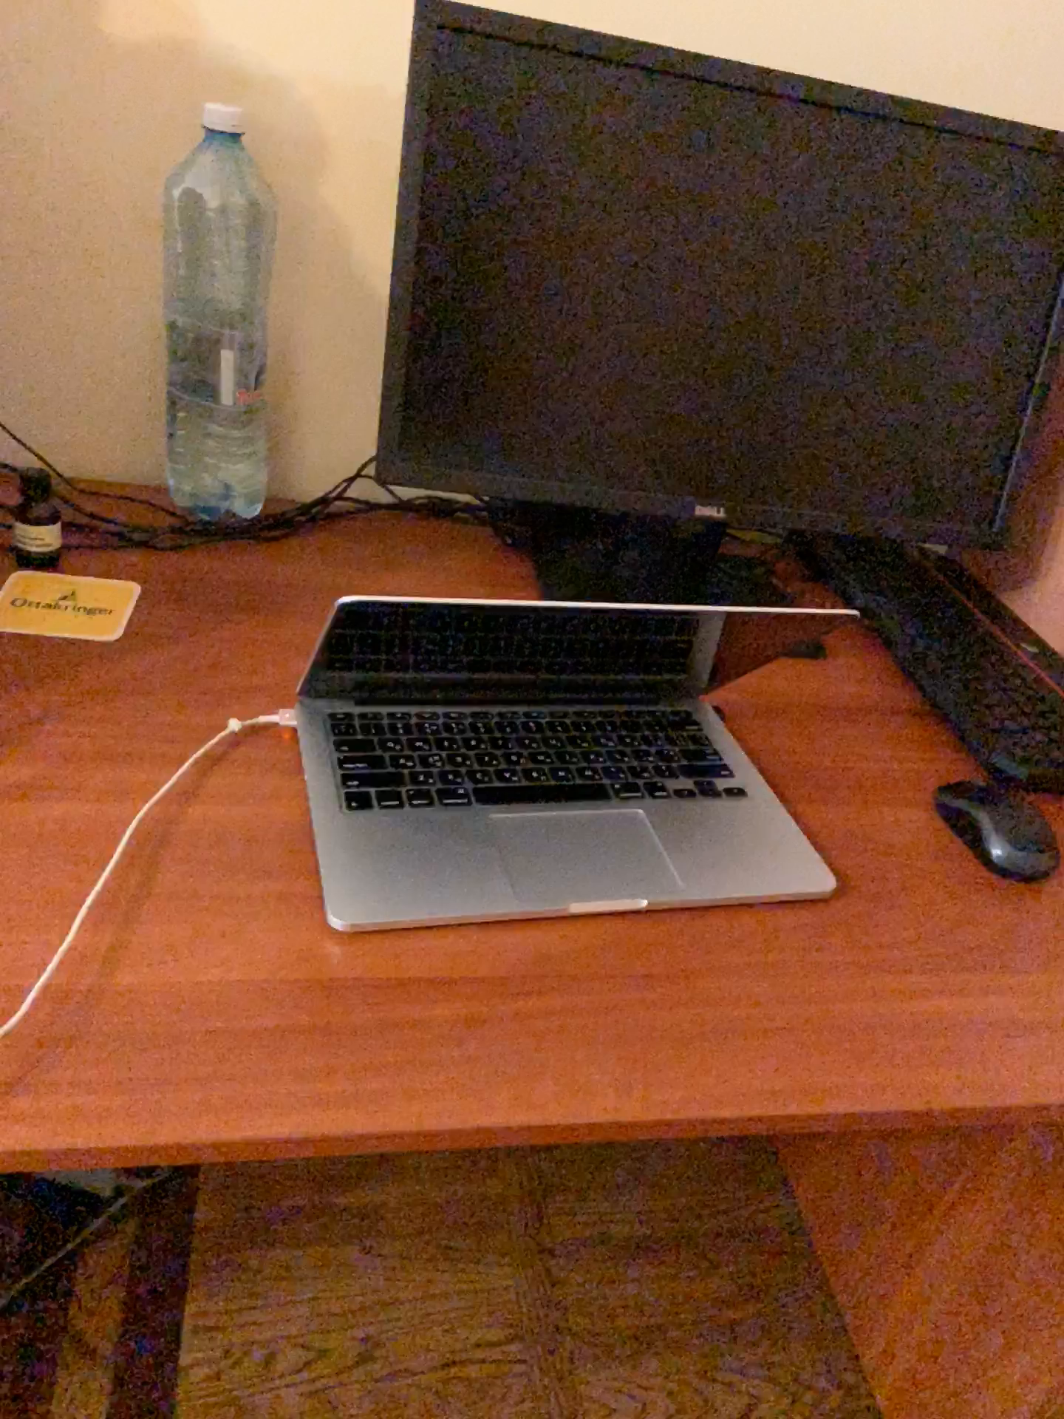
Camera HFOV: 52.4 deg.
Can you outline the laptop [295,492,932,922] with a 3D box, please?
[{"bbox_3d":[0.029,-0.011,0.647,0.306,0.148,0.205,0,33,-19],"label":"laptop"}]
